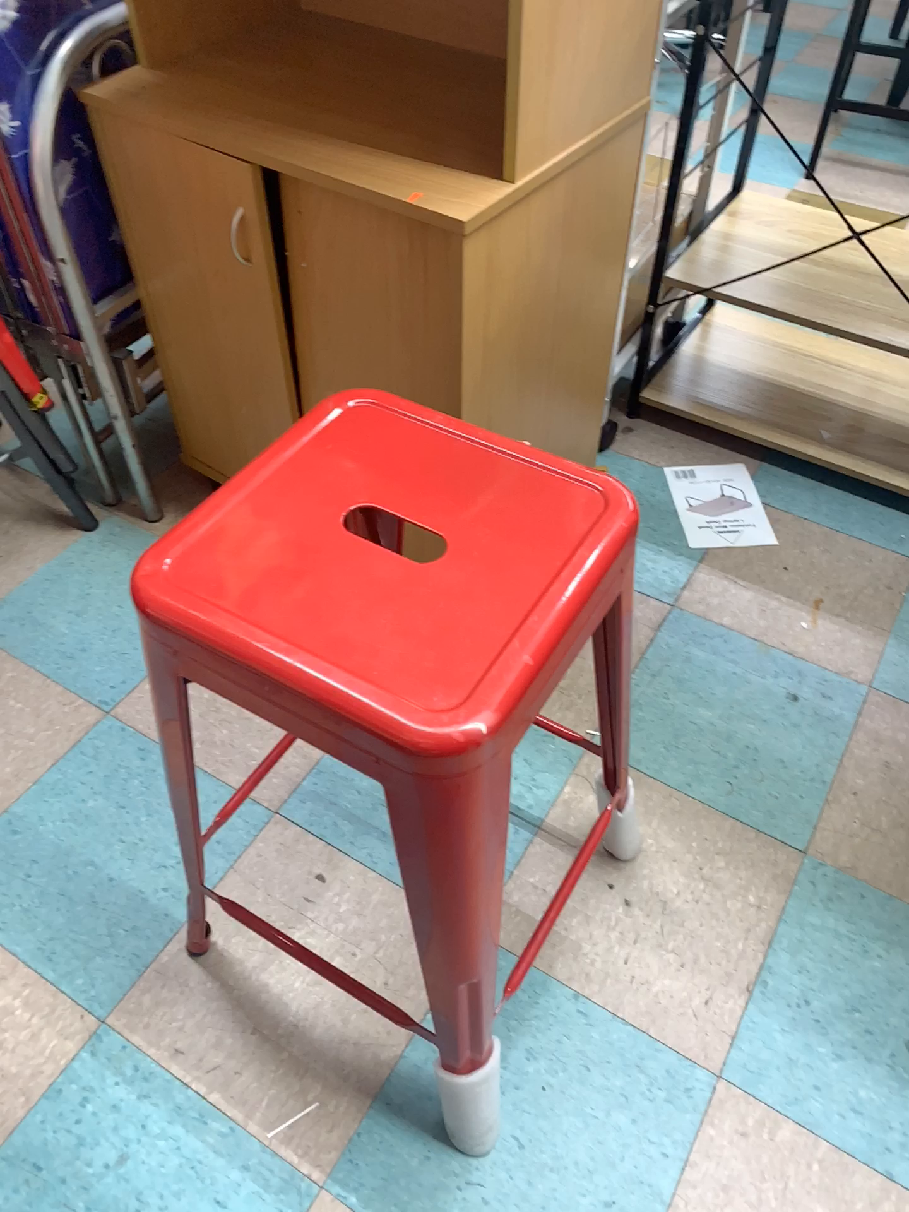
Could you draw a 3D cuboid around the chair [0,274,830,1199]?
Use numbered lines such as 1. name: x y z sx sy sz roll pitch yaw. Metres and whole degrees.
1. chair: -0.030 0.131 0.839 0.435 0.598 0.440 25 53 20
